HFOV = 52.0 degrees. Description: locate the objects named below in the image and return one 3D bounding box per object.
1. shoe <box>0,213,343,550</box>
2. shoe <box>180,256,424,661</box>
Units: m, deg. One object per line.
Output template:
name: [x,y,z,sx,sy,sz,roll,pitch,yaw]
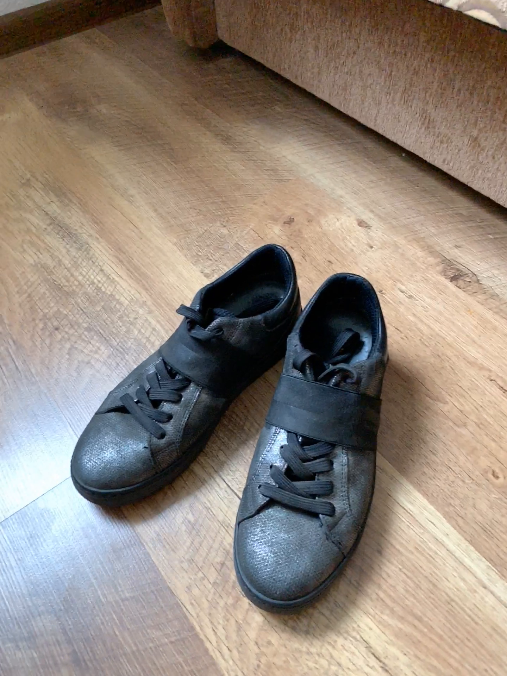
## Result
shoe: [-0.048,0.022,0.422,0.100,0.090,0.260,33,61,25]
shoe: [0.049,0.070,0.384,0.100,0.090,0.261,13,55,13]
